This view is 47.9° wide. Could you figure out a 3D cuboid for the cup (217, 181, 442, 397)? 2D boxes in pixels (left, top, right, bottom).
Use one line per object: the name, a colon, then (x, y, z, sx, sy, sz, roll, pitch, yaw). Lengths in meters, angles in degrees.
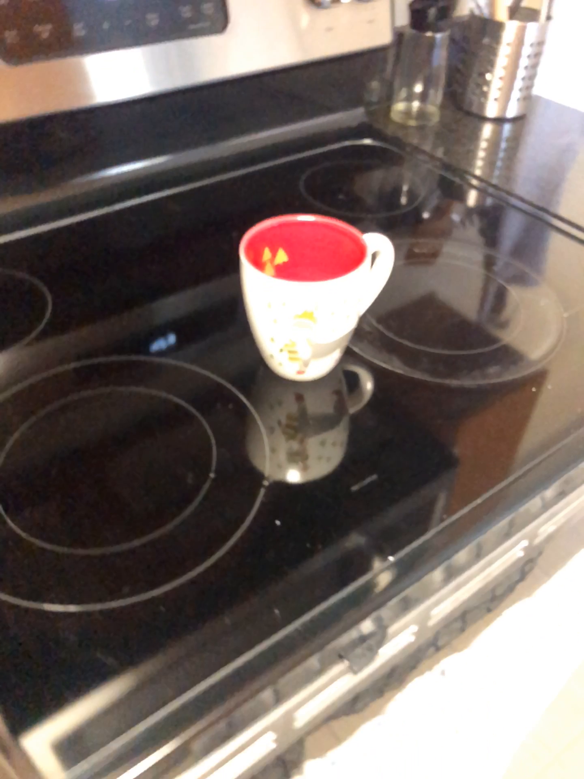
cup: (0.028, -0.087, 0.534, 0.140, 0.100, 0.100, -27, 50, -28)
